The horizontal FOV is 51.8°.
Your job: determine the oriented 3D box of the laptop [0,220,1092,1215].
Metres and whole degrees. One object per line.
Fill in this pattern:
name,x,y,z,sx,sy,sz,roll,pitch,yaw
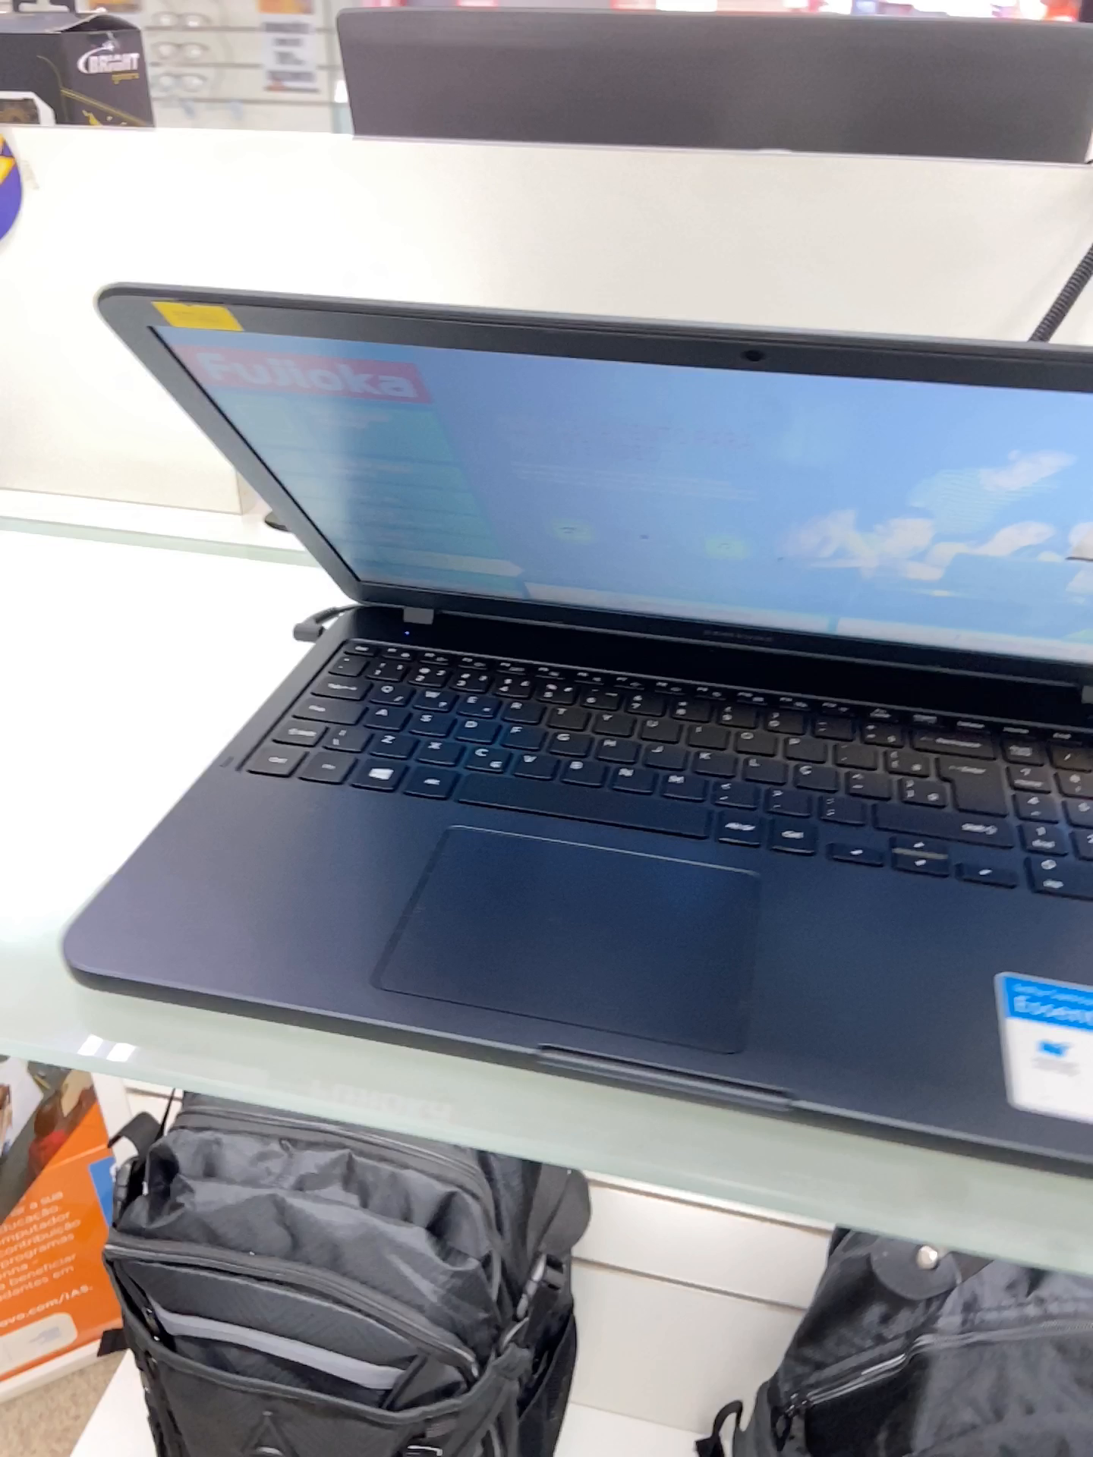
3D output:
laptop,0.058,-0.044,0.365,0.372,0.173,0.247,8,32,10
